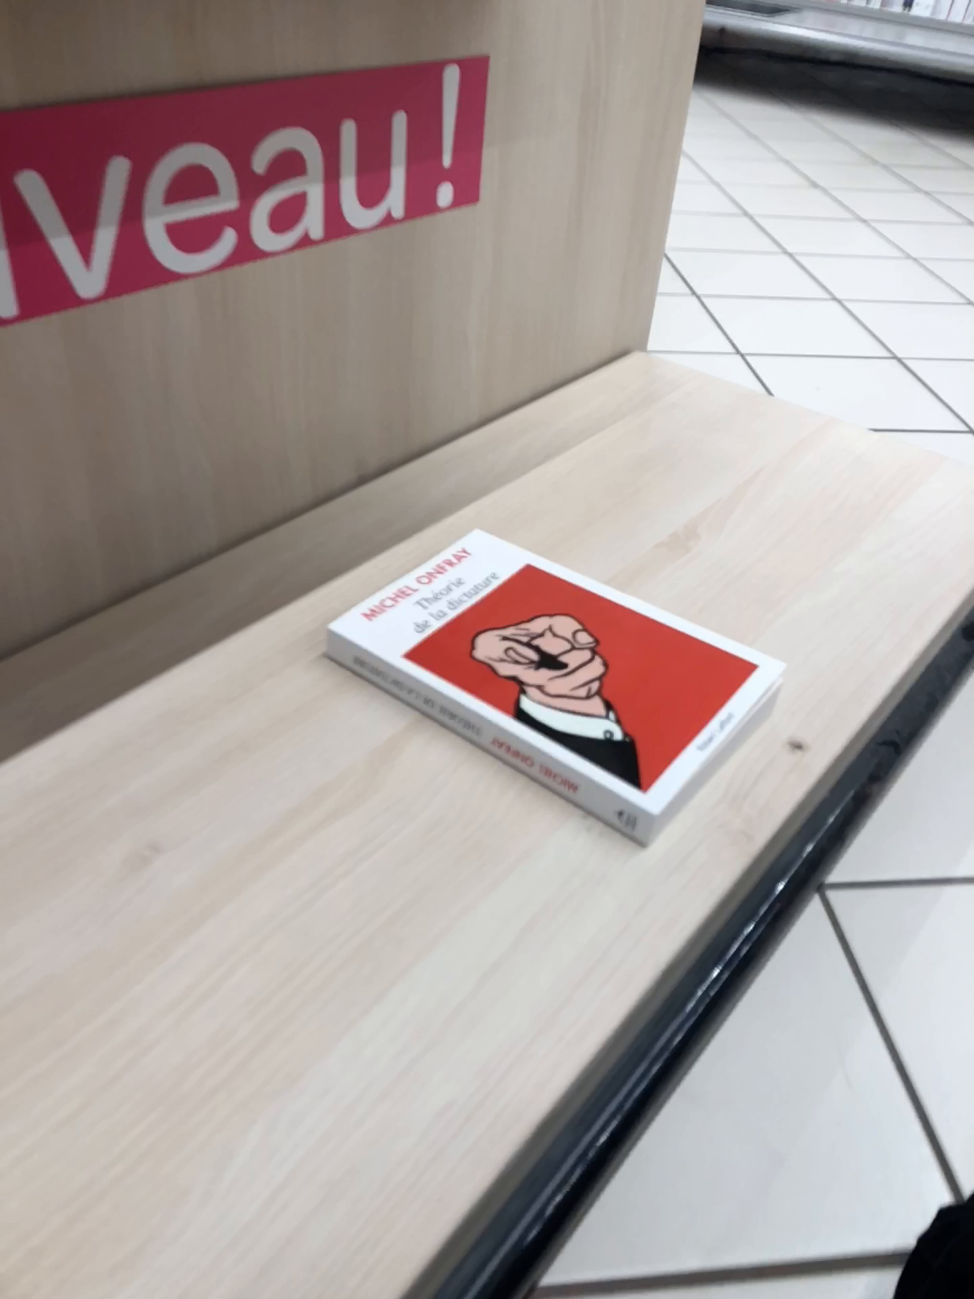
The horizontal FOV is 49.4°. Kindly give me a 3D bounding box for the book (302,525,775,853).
[{"bbox_3d":[0.026,0.008,0.562,0.207,0.029,0.139,27,42,27],"label":"book"}]
